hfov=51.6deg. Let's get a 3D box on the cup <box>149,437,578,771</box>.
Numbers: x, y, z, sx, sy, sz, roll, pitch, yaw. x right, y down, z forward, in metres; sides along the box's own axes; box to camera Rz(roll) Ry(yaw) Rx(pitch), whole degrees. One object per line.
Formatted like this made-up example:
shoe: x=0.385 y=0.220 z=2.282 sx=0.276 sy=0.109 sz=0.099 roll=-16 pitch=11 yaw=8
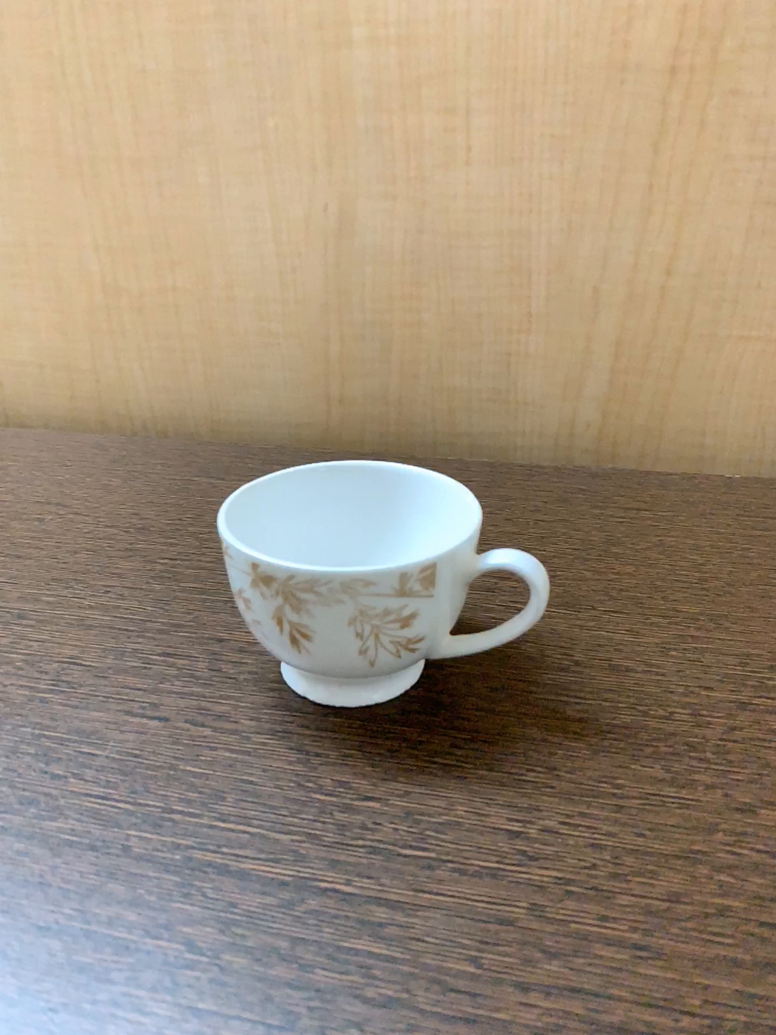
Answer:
cup: x=-0.001 y=0.017 z=0.236 sx=0.100 sy=0.050 sz=0.081 roll=7 pitch=26 yaw=16
